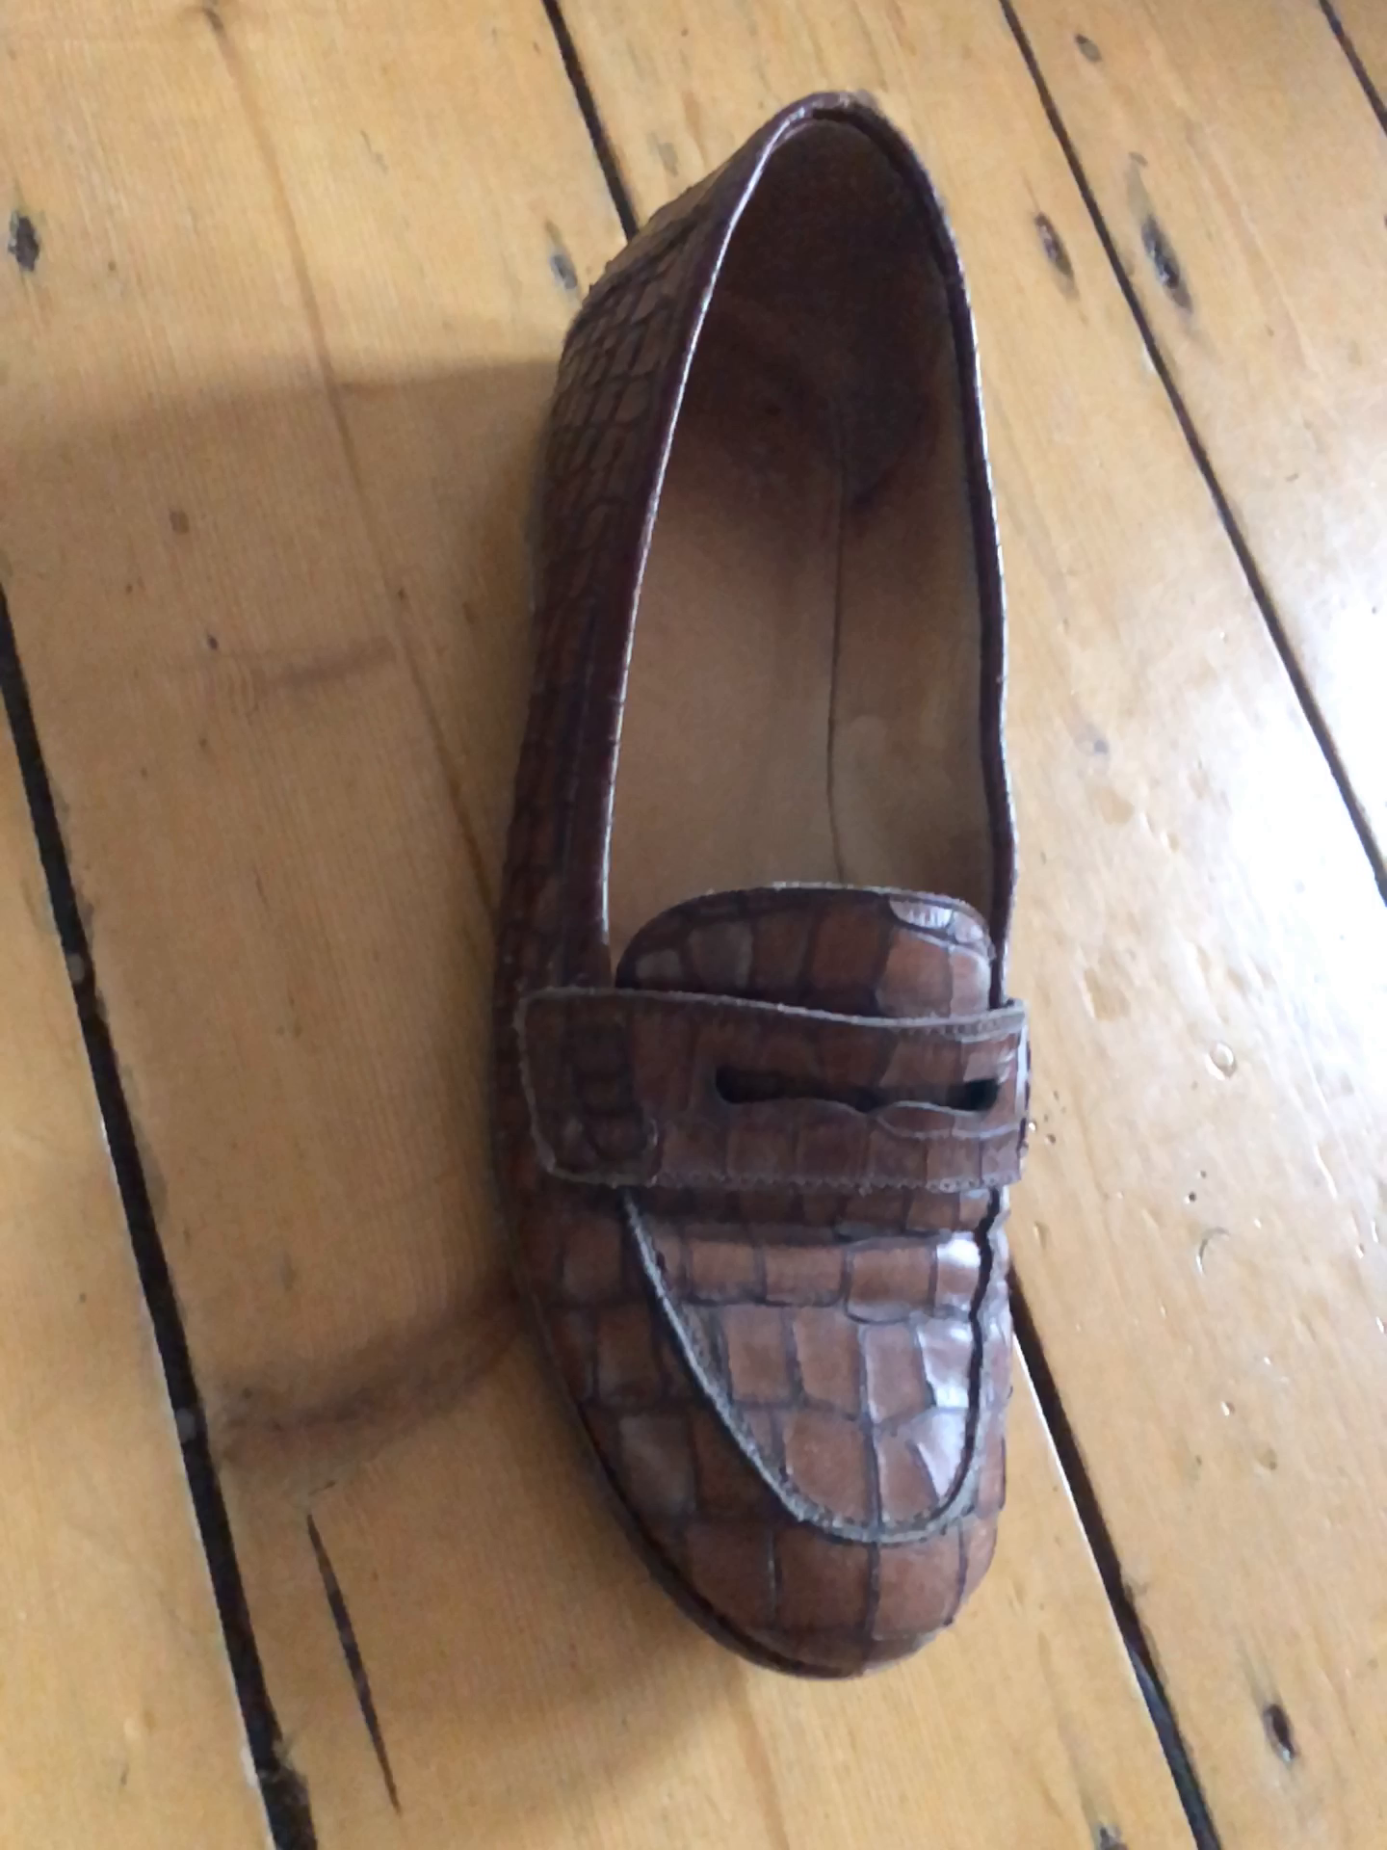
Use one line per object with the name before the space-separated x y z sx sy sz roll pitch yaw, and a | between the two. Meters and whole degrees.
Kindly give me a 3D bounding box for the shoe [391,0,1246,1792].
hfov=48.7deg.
shoe | 0.001 -0.040 0.275 0.080 0.100 0.321 3 70 -23
